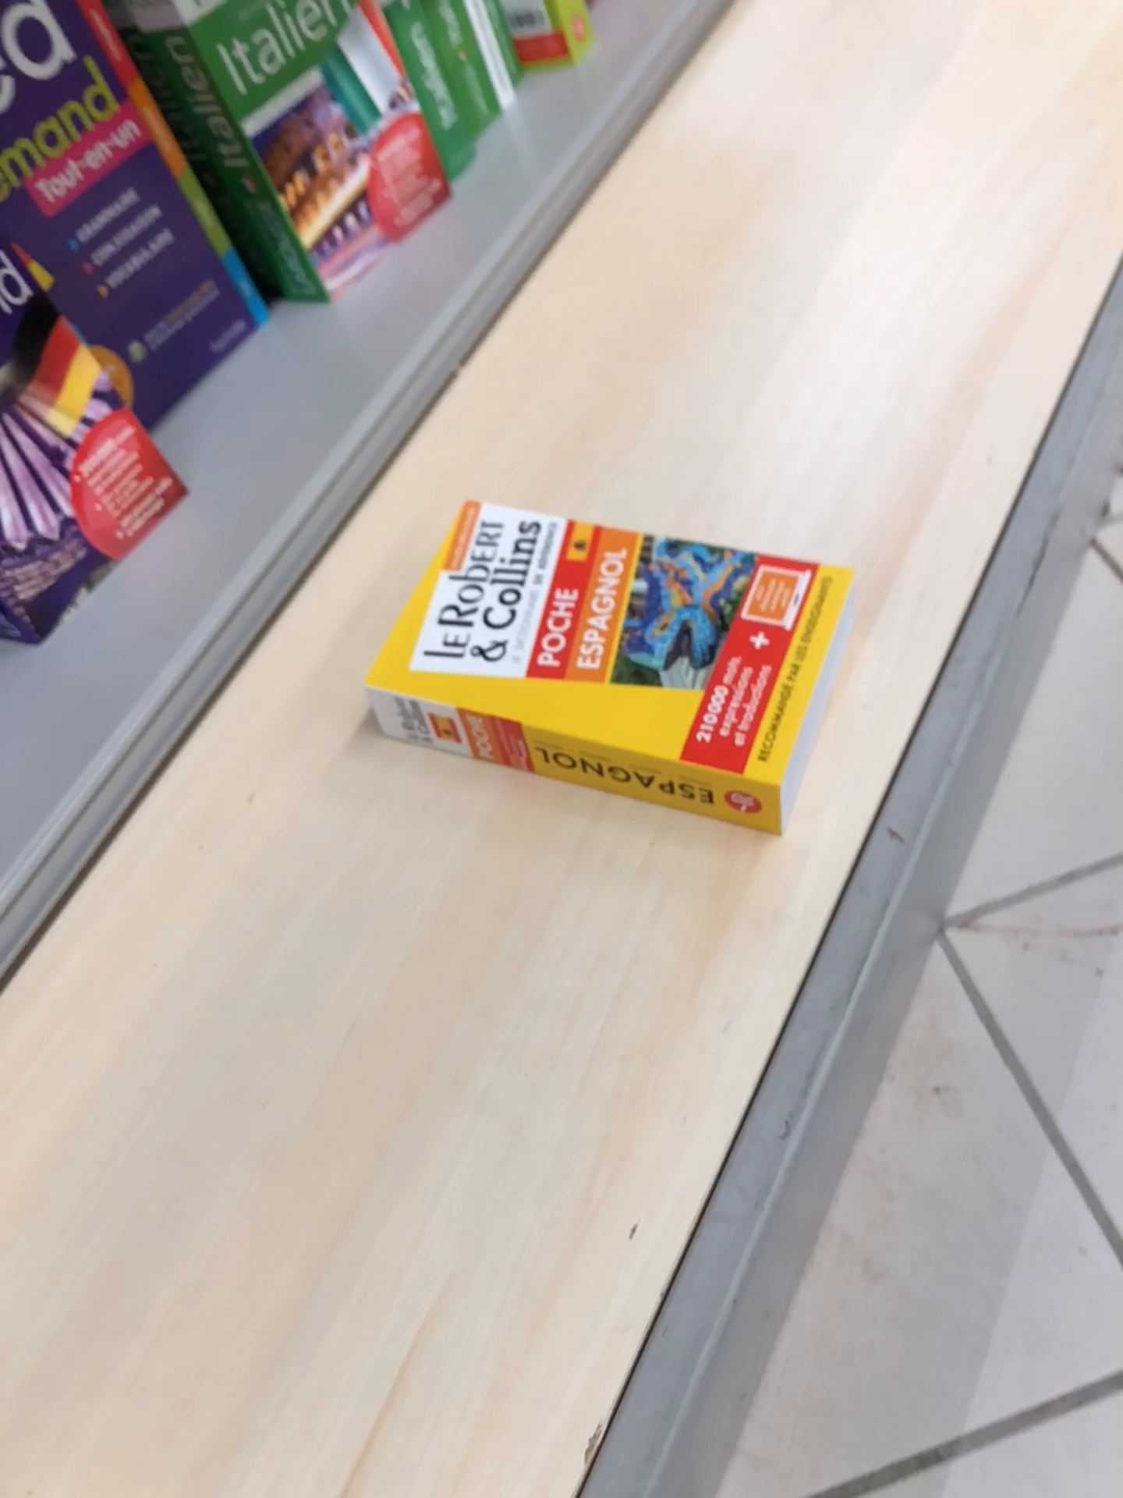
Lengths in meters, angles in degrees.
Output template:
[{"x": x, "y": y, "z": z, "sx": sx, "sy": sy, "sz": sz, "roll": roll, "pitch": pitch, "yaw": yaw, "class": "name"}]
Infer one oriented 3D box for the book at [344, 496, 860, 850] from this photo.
[{"x": 0.019, "y": -0.037, "z": 0.513, "sx": 0.180, "sy": 0.040, "sz": 0.111, "roll": 14, "pitch": 58, "yaw": 18, "class": "book"}]
